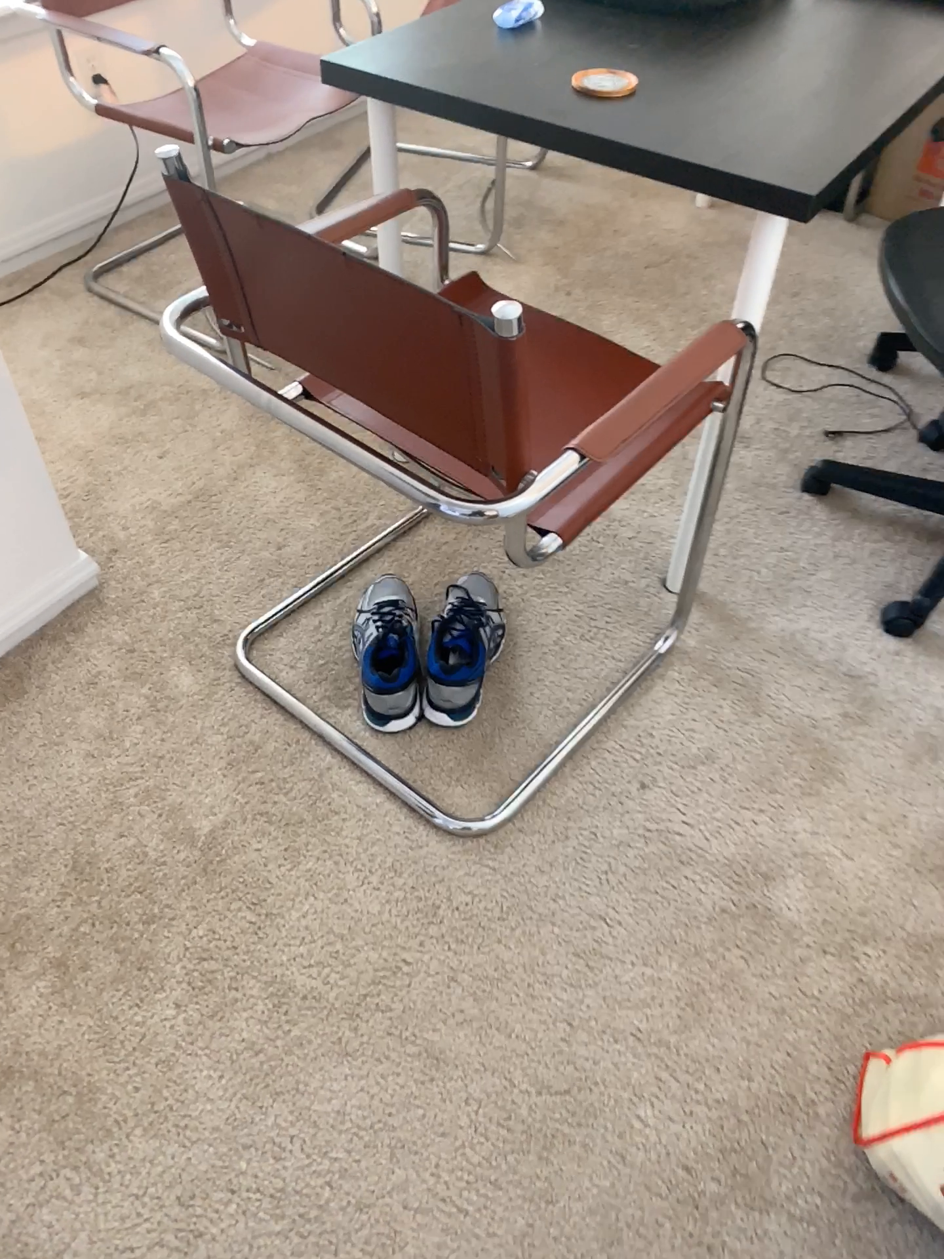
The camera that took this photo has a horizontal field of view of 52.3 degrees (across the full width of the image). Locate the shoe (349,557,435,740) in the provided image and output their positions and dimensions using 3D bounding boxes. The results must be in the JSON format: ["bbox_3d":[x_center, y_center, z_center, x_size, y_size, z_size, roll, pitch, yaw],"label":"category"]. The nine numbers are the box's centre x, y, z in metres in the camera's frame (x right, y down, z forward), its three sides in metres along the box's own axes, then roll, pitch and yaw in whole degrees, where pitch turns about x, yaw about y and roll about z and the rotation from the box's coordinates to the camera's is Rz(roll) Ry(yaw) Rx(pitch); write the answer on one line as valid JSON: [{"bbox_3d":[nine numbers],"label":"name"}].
[{"bbox_3d":[-0.131,0.025,1.594,0.130,0.099,0.312,-2,48,-3],"label":"shoe"}]

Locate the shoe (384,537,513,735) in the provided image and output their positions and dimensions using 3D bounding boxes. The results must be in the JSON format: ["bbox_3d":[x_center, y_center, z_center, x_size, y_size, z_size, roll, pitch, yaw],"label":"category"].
[{"bbox_3d":[-0.032,0.003,1.528,0.130,0.099,0.311,10,48,8],"label":"shoe"}]
